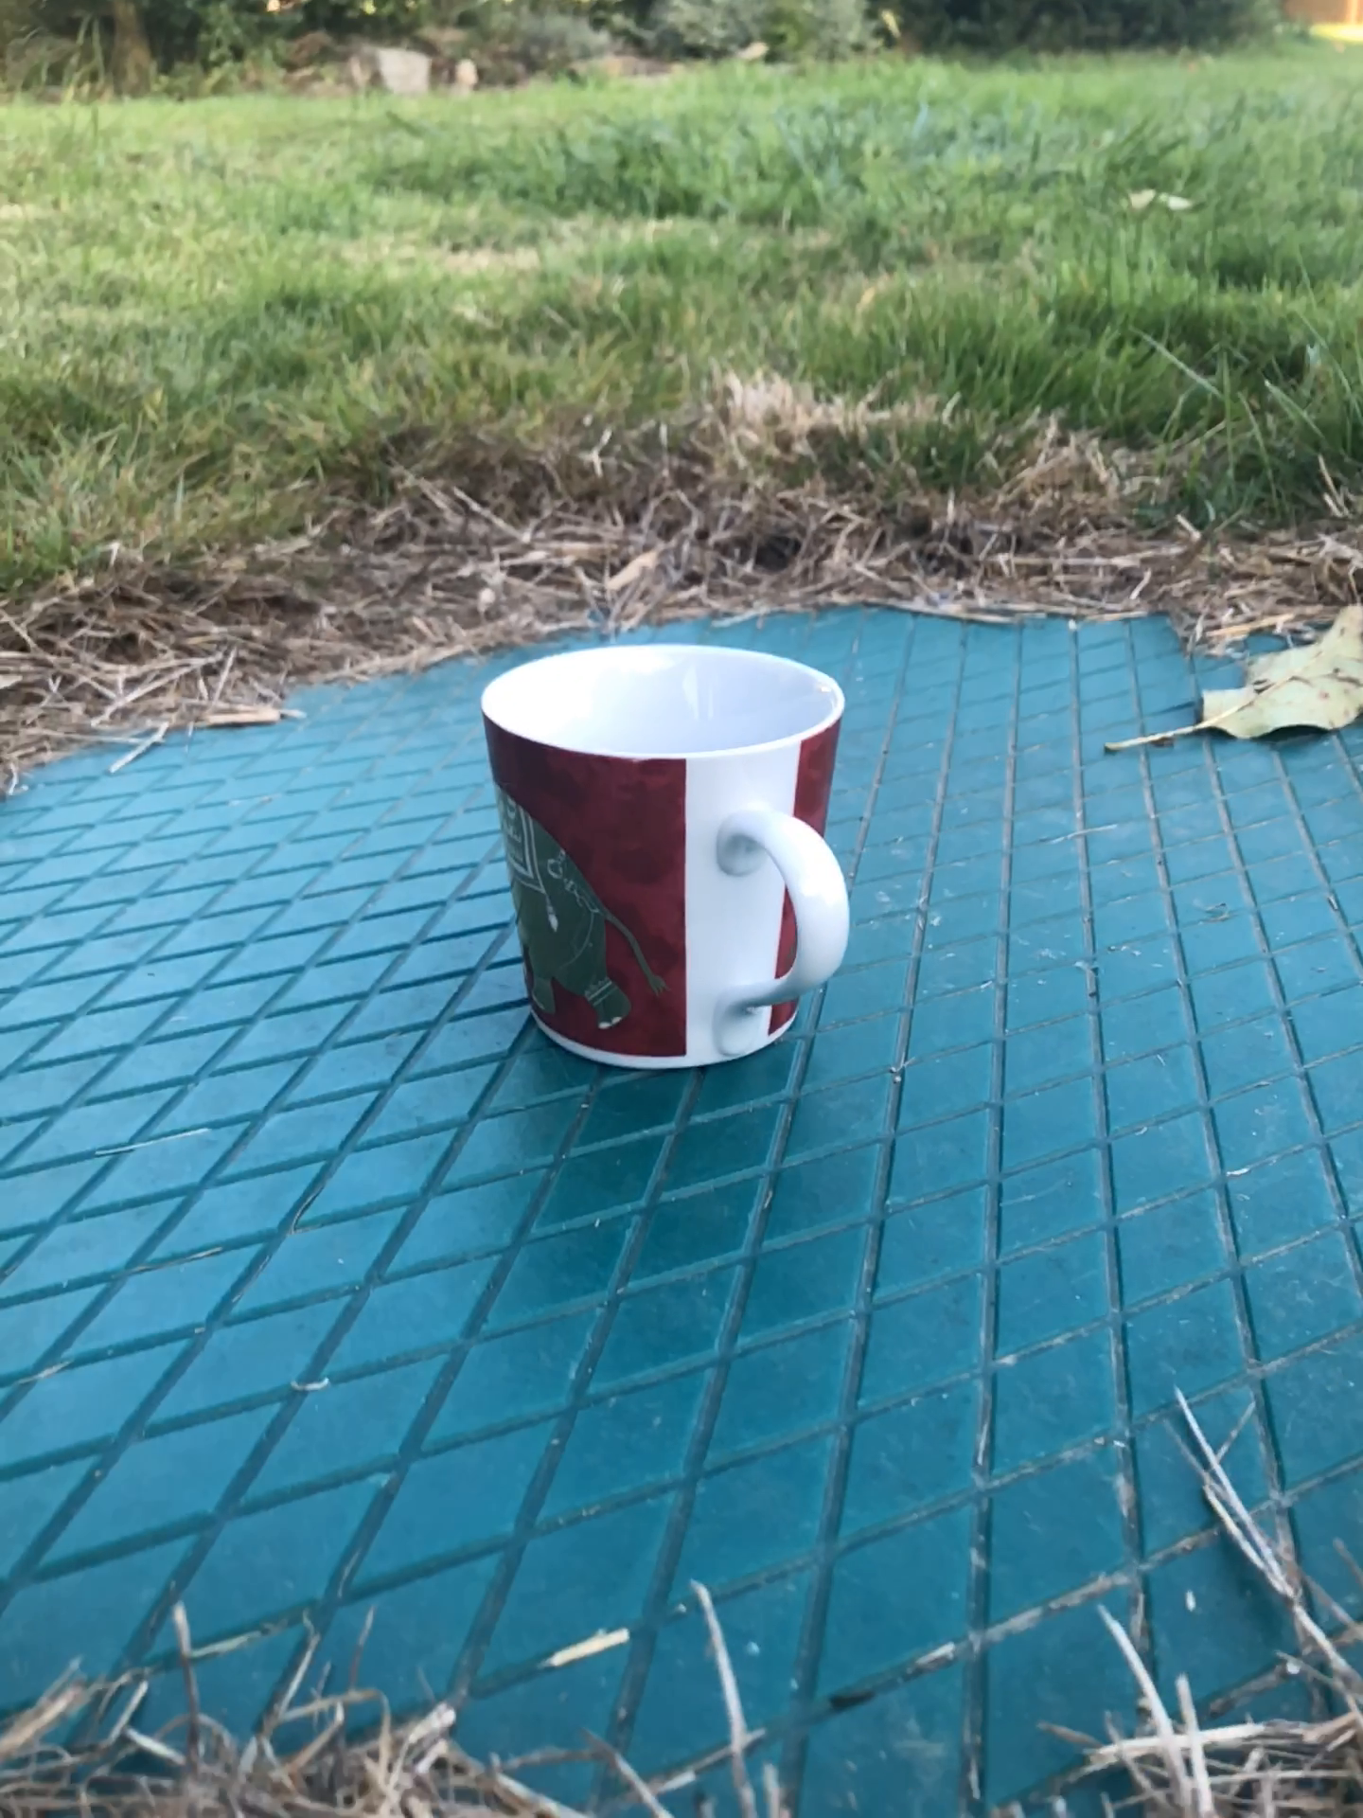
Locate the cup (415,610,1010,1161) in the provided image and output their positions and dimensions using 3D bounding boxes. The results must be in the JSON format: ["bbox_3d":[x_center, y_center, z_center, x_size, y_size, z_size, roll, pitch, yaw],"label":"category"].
[{"bbox_3d":[0.002,-0.014,0.329,0.082,0.070,0.110,-13,28,-24],"label":"cup"}]
